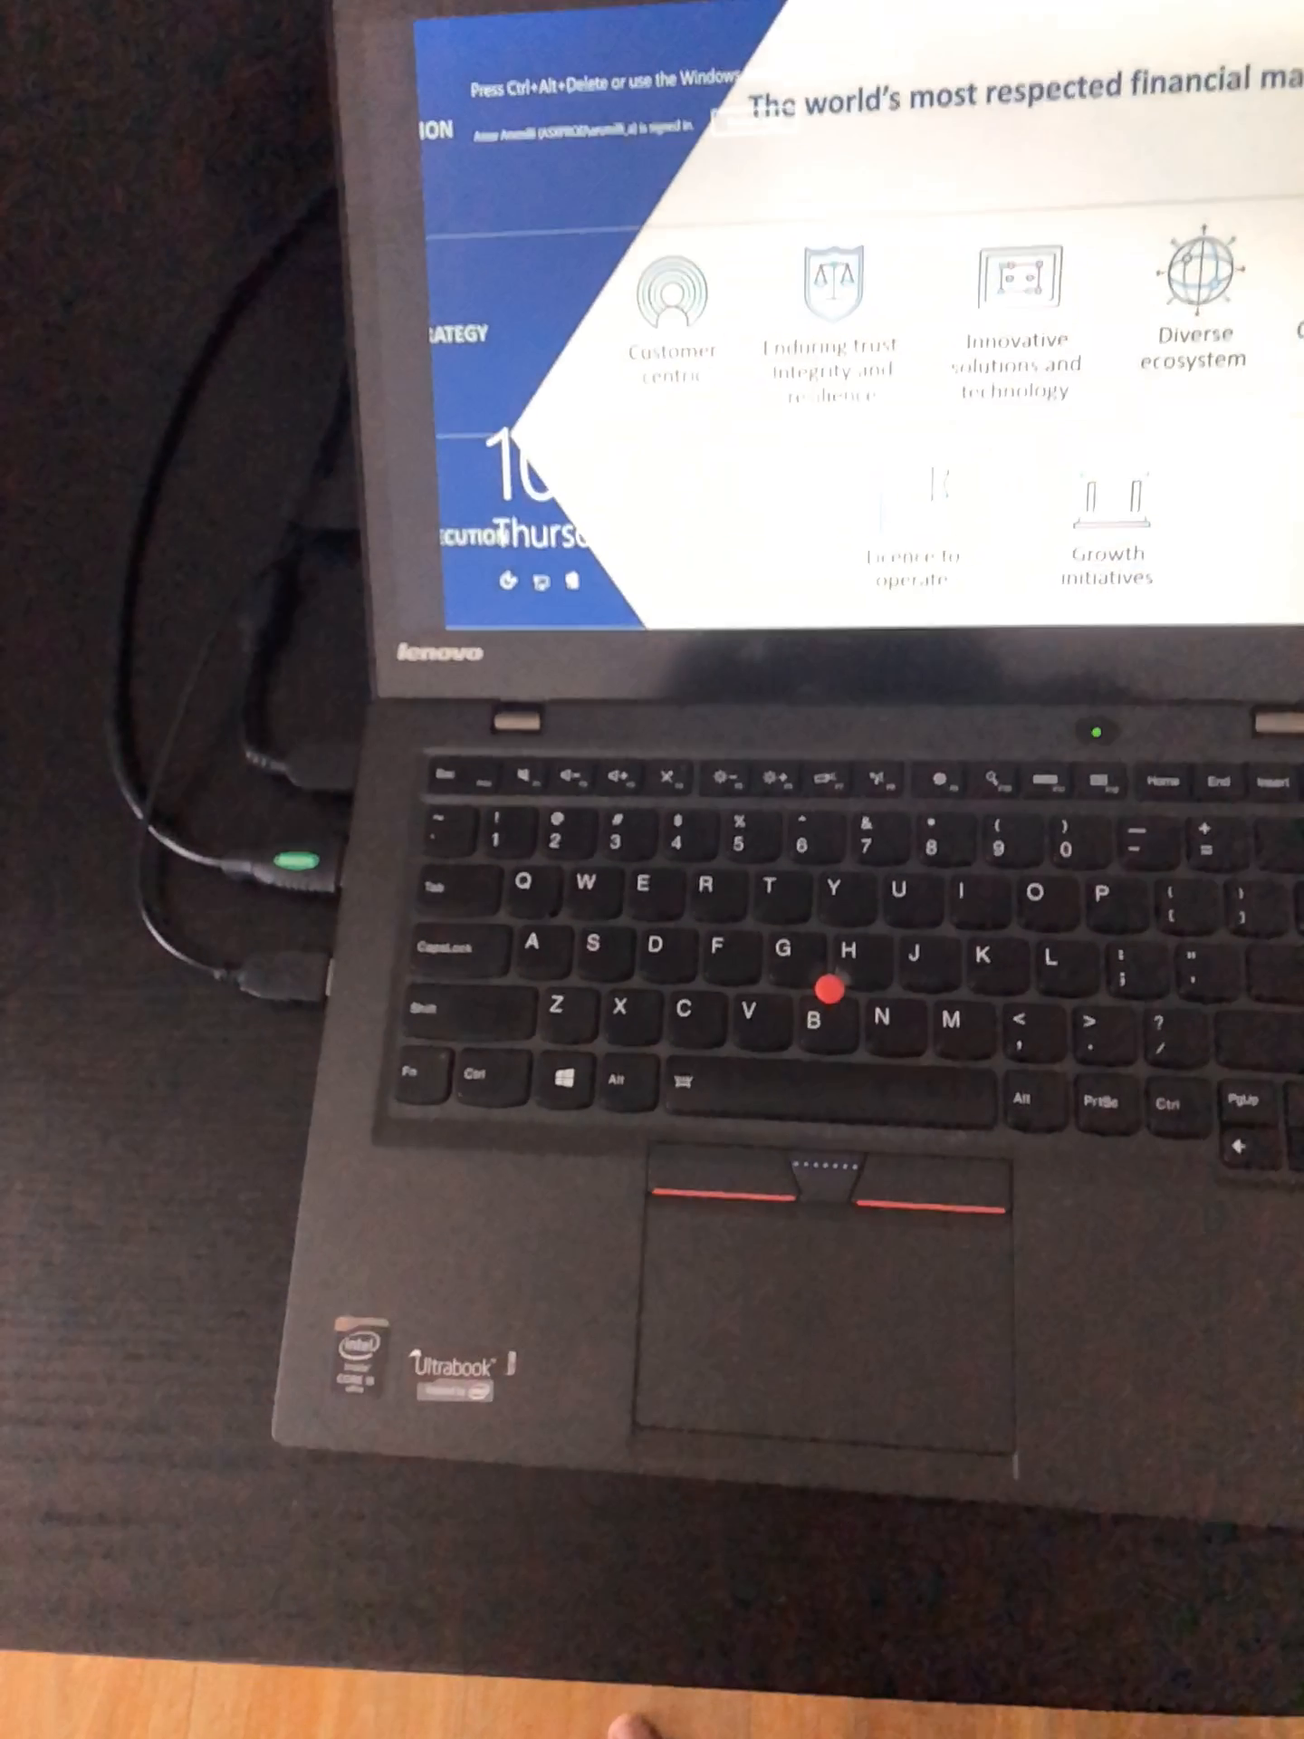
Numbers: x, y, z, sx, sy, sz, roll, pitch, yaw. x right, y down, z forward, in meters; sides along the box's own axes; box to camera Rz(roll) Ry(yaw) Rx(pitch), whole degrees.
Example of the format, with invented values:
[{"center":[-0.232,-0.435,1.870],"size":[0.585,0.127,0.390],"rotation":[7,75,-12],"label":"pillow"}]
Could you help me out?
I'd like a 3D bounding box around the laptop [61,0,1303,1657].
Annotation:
[{"center":[0.063,-0.044,0.370],"size":[0.322,0.117,0.388],"rotation":[2,73,8],"label":"laptop"}]
